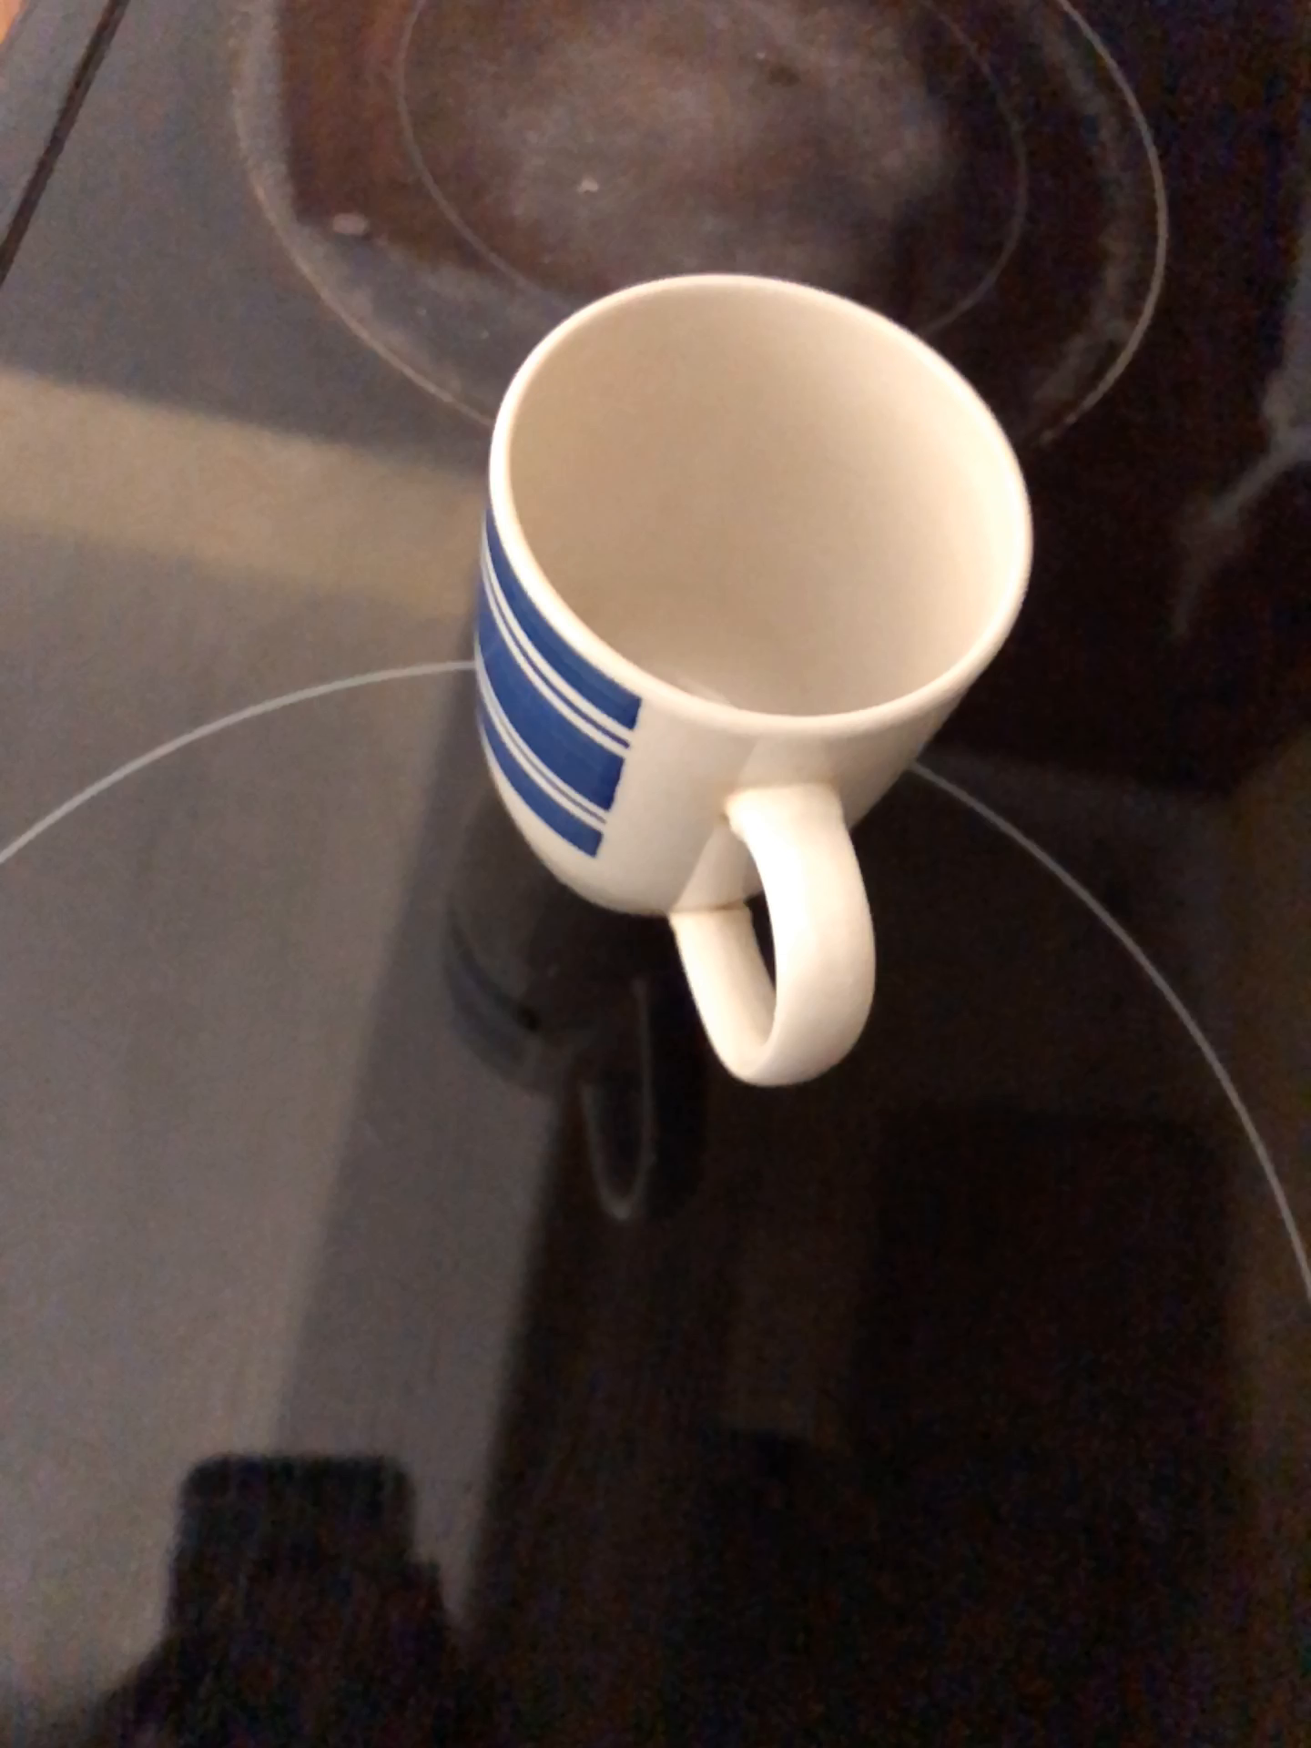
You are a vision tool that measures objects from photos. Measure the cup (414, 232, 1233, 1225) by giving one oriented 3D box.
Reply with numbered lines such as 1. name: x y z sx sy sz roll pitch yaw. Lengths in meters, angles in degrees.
1. cup: 0.012 -0.020 0.231 0.080 0.090 0.120 -7 69 -14
